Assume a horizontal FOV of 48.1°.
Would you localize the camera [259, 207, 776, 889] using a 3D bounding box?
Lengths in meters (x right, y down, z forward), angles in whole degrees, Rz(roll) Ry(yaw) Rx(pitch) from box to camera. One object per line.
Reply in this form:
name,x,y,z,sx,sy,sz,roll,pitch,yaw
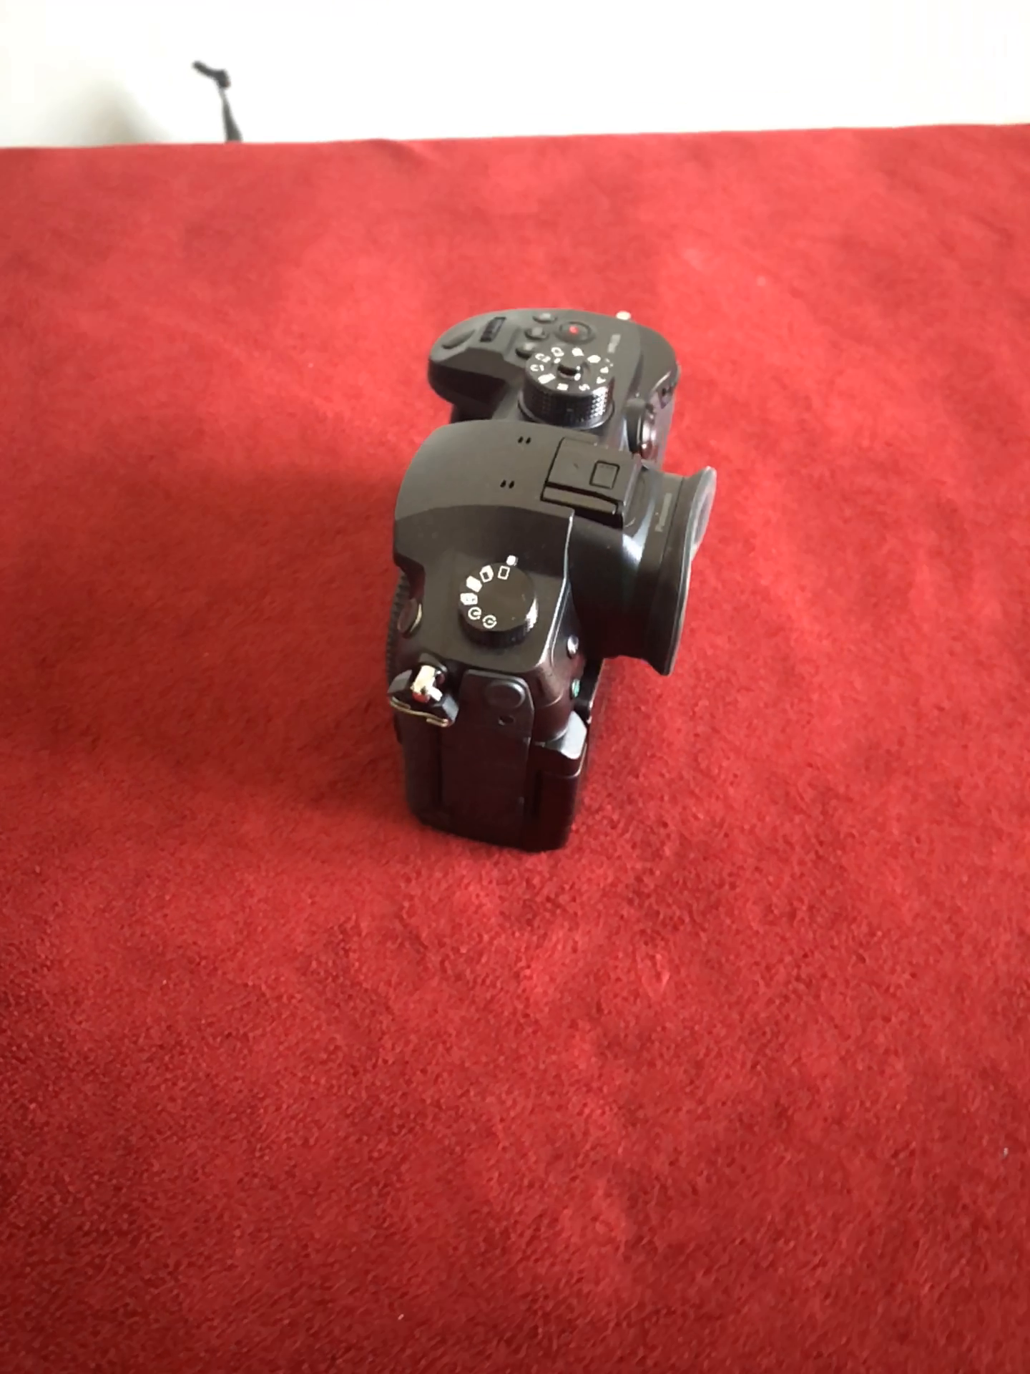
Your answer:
camera,0.008,-0.041,0.308,0.085,0.087,0.148,14,54,8
